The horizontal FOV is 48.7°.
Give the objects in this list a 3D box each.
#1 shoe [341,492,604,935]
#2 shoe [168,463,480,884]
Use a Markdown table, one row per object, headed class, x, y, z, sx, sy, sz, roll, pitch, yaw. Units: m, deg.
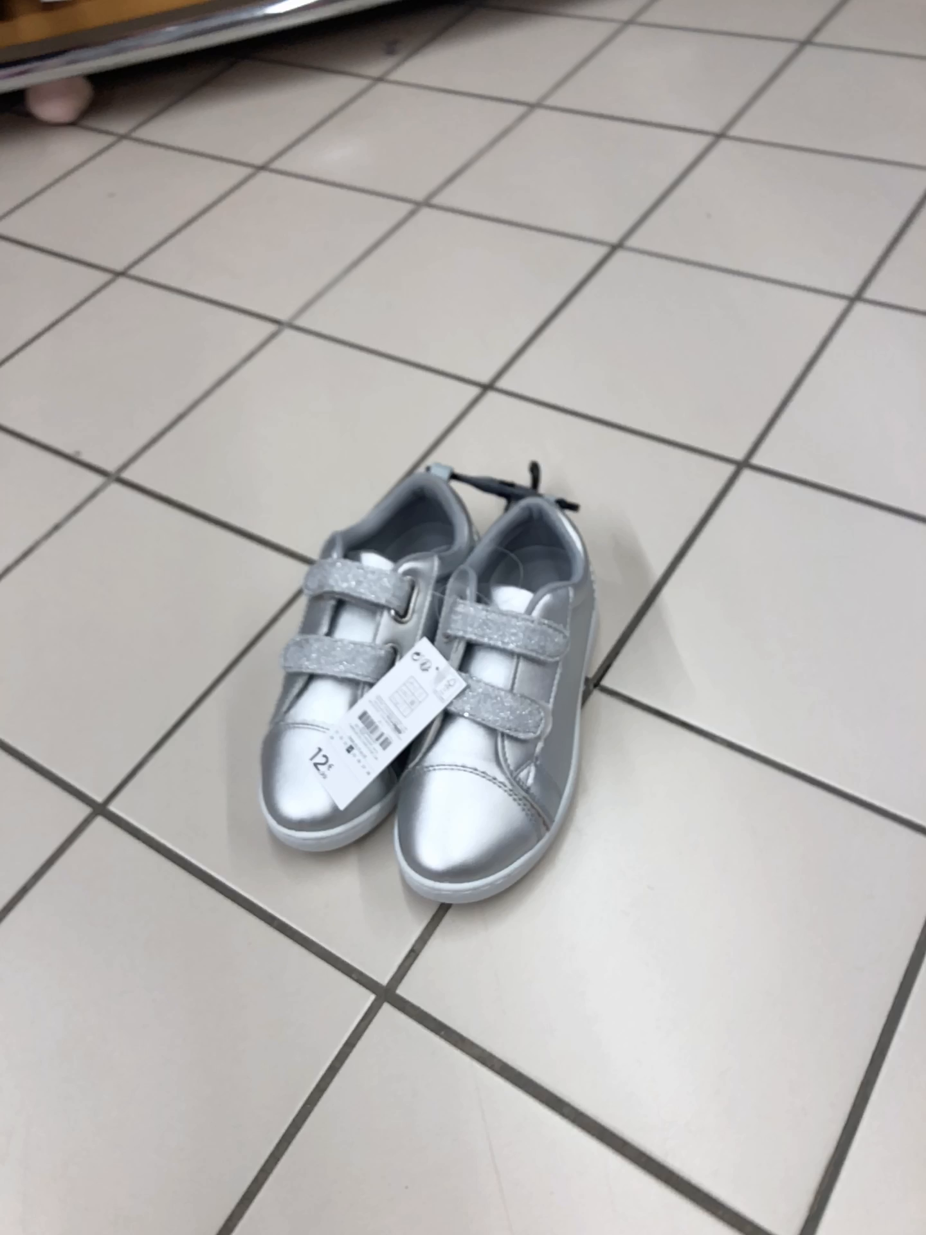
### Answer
| class | x | y | z | sx | sy | sz | roll | pitch | yaw |
| --- | --- | --- | --- | --- | --- | --- | --- | --- | --- |
| shoe | 0.017 | 0.041 | 0.540 | 0.090 | 0.086 | 0.216 | 4 | 51 | 13 |
| shoe | -0.064 | 0.022 | 0.567 | 0.090 | 0.086 | 0.216 | 6 | 52 | 15 |
